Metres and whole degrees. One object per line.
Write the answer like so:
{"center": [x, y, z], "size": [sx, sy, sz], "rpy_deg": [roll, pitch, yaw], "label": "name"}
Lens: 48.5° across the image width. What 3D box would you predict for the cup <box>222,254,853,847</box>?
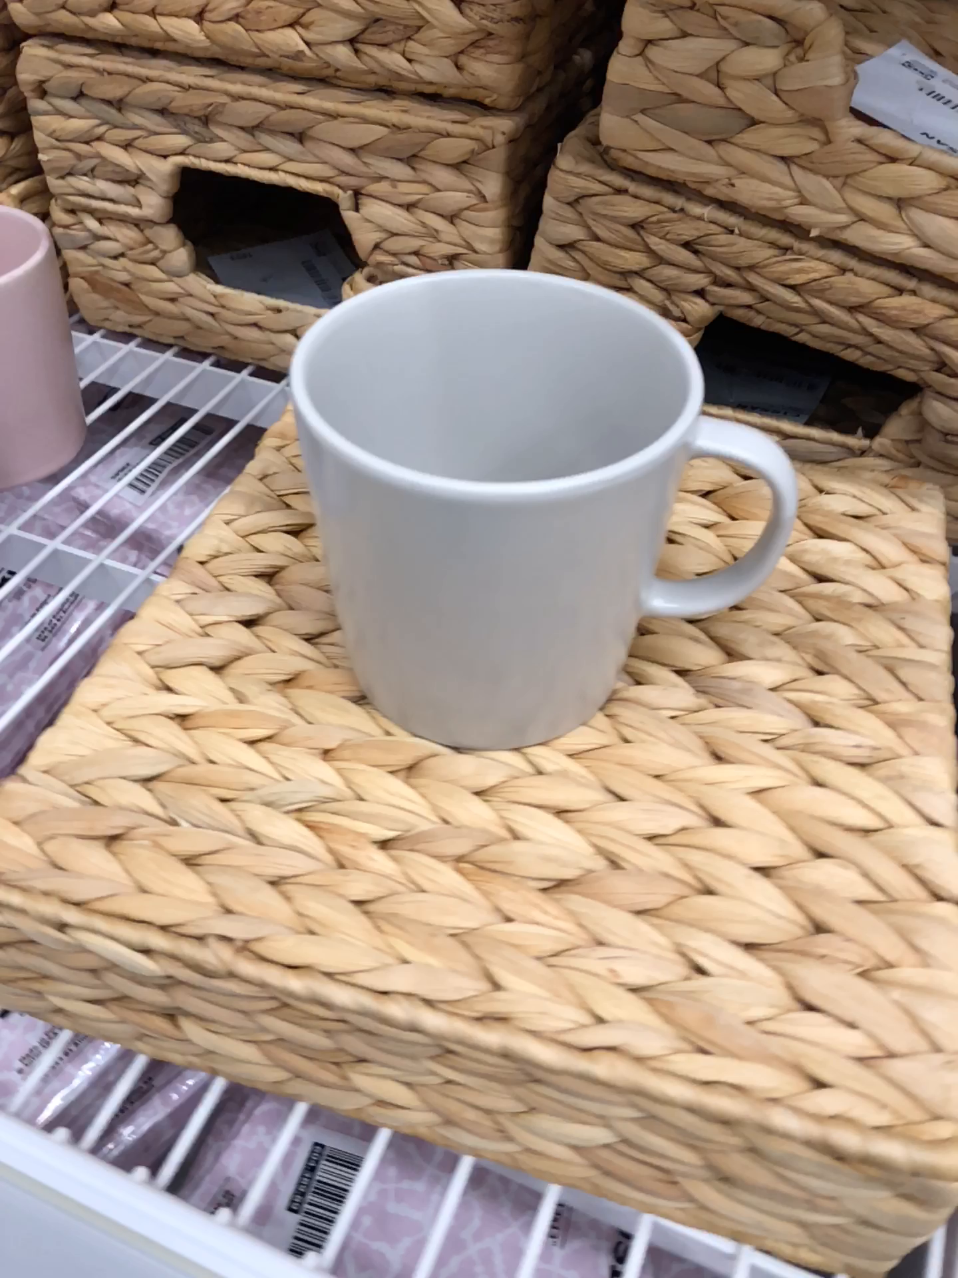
{"center": [0.018, -0.025, 0.261], "size": [0.120, 0.090, 0.090], "rpy_deg": [11, 44, 10], "label": "cup"}
